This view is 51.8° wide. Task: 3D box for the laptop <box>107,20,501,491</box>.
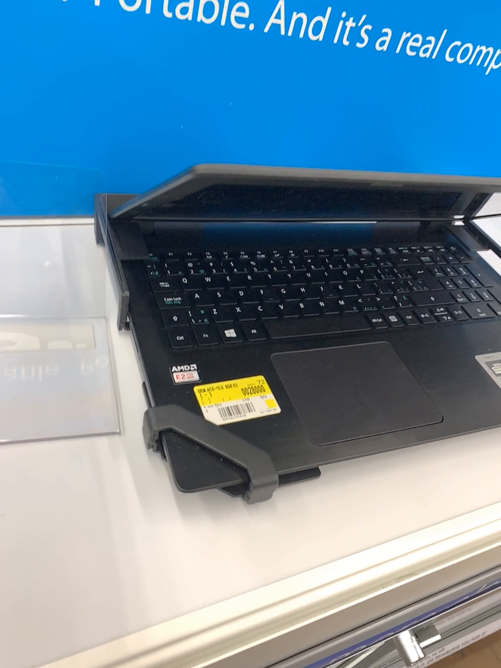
[{"bbox_3d":[0.107,-0.071,0.366,0.365,0.146,0.234,-5,49,-24],"label":"laptop"}]
